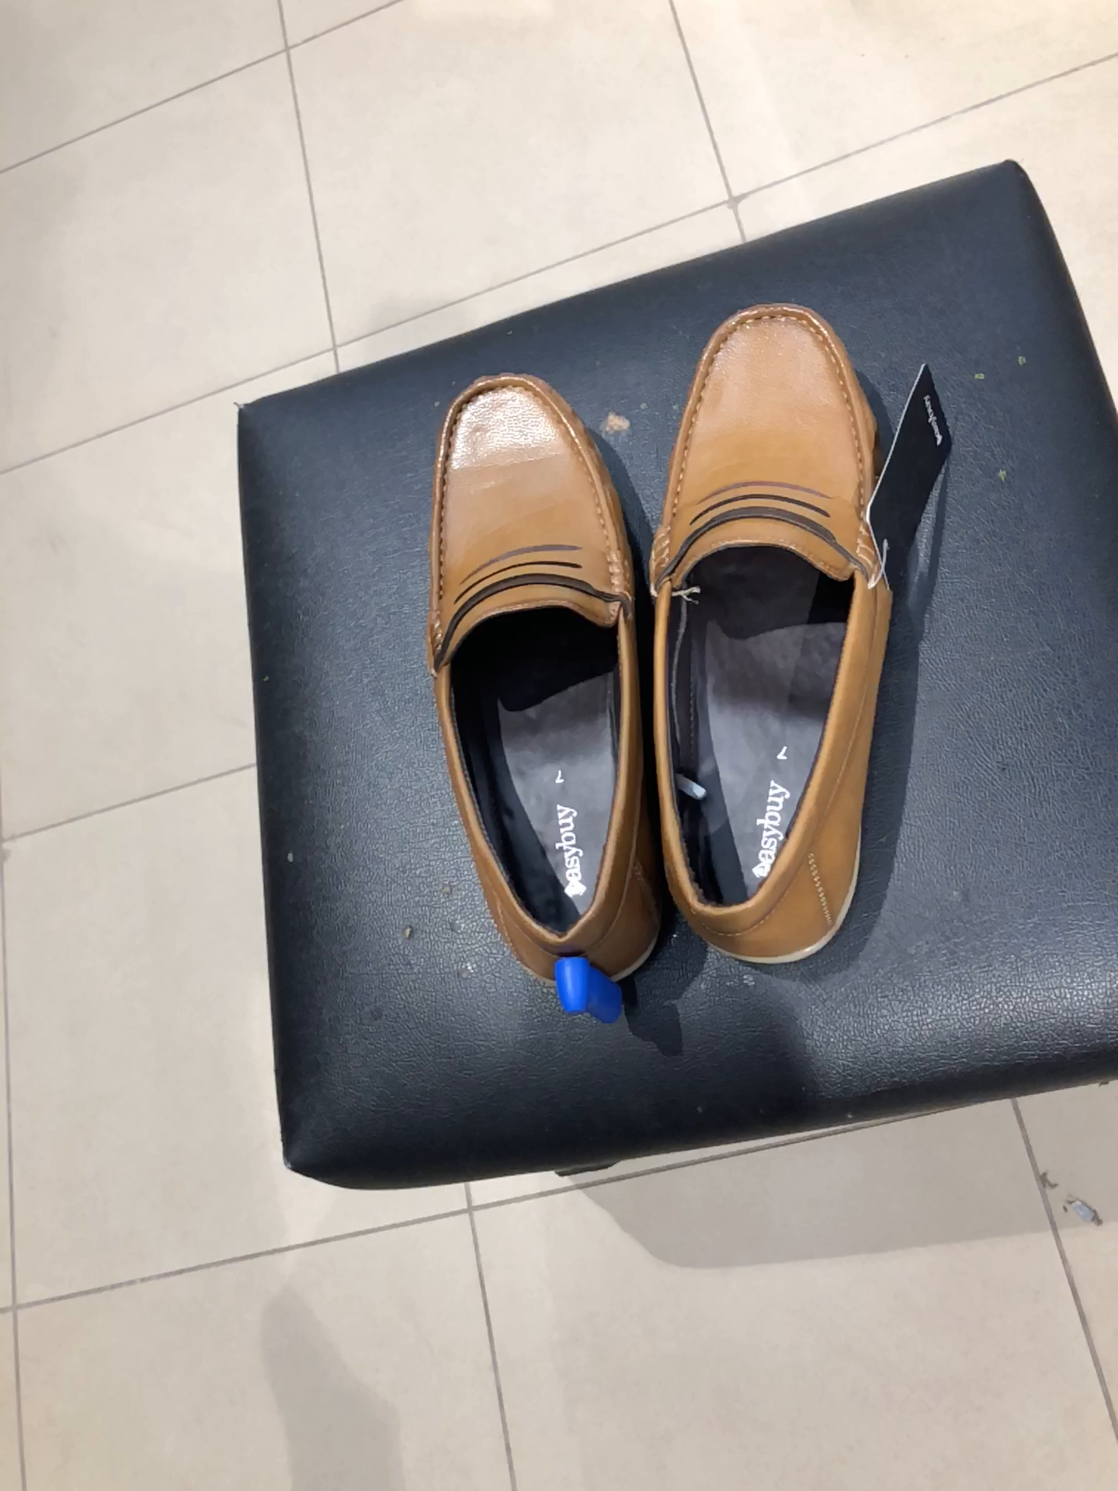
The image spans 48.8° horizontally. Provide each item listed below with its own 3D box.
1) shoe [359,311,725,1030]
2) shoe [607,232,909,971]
[{"bbox_3d":[-0.010,-0.030,0.517,0.098,0.088,0.273,-13,70,13],"label":"shoe"},{"bbox_3d":[0.082,-0.054,0.492,0.098,0.088,0.273,-3,72,17],"label":"shoe"}]
